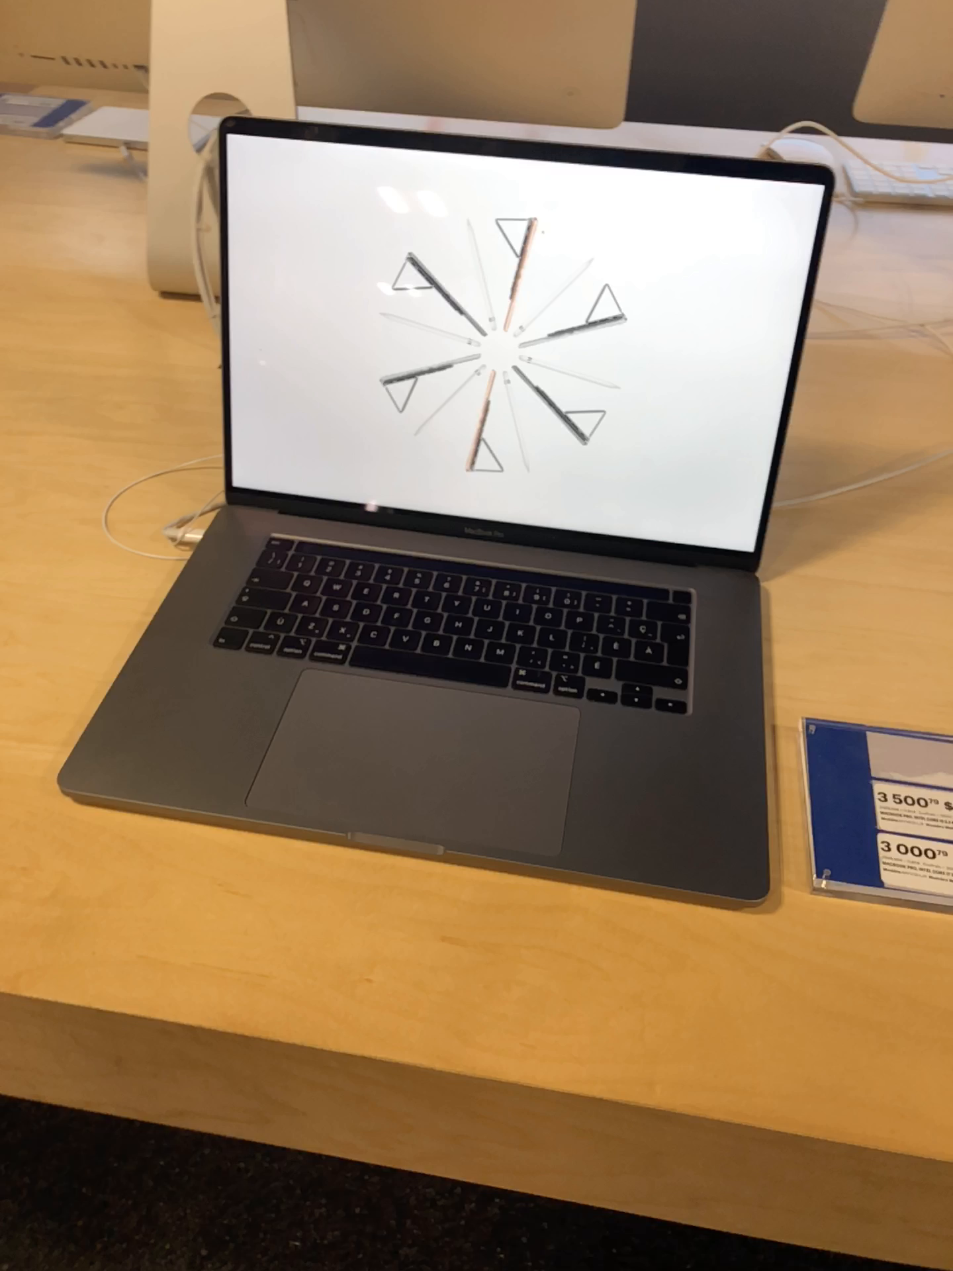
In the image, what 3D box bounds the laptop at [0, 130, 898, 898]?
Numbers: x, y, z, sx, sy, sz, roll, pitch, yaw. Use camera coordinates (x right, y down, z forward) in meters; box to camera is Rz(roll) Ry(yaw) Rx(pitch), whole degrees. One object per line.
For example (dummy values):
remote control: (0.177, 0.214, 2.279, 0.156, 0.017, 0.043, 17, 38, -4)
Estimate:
laptop: (-0.008, -0.087, 0.564, 0.352, 0.230, 0.316, 8, 43, 7)
